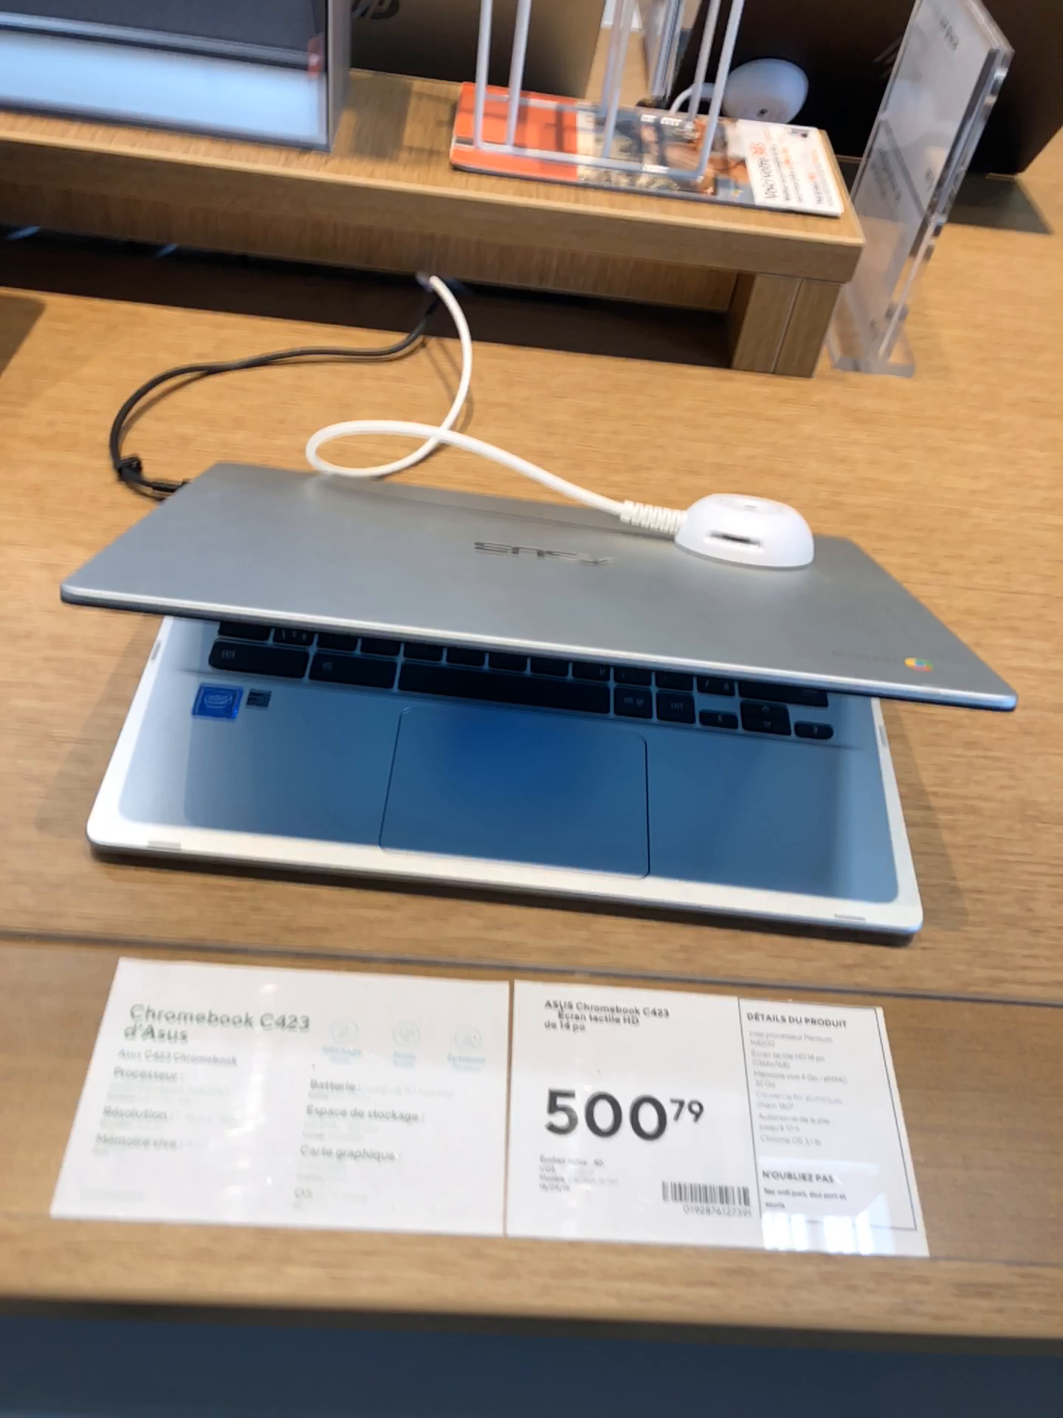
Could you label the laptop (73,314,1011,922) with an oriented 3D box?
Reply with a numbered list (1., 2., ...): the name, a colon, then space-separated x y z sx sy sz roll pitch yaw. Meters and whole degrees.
1. laptop: 0.009 -0.042 0.470 0.304 0.080 0.206 7 50 -5
